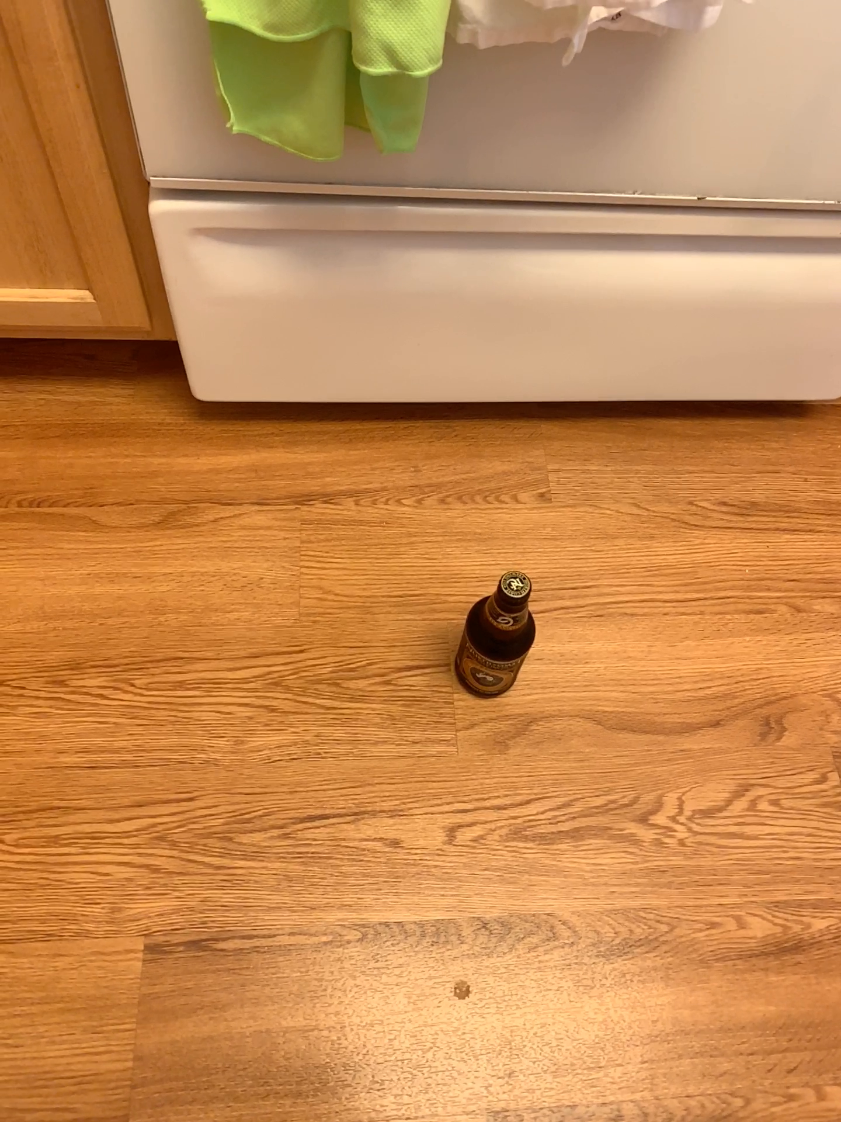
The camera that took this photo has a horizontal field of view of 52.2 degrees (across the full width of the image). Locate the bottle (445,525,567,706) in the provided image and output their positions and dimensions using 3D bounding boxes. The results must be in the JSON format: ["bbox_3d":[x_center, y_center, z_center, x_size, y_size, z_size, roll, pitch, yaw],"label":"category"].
[{"bbox_3d":[0.069,0.055,0.747,0.060,0.209,0.060,2,61,-4],"label":"bottle"}]
